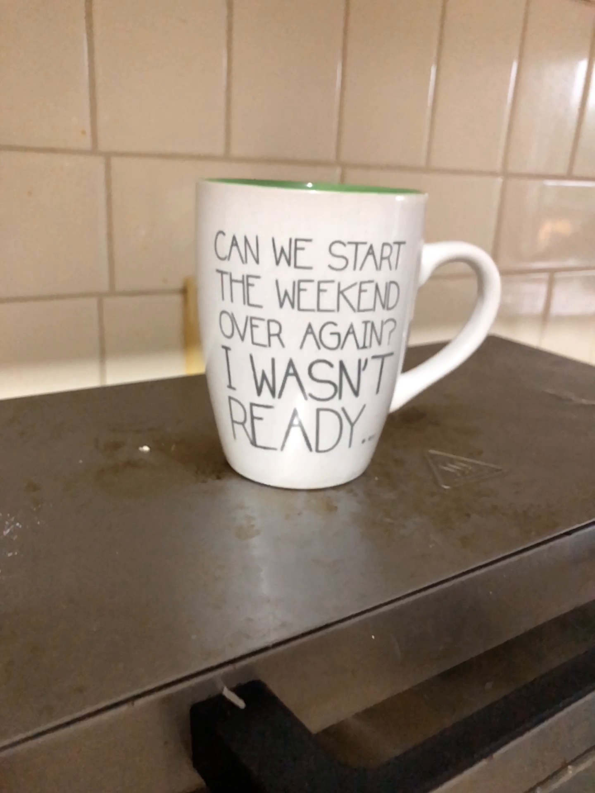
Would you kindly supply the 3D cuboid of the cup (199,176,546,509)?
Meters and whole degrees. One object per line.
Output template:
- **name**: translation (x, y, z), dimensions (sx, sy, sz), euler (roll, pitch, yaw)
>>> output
- **cup**: translation (0.019, -0.025, 0.260), dimensions (0.110, 0.110, 0.070), euler (0, 18, -10)
